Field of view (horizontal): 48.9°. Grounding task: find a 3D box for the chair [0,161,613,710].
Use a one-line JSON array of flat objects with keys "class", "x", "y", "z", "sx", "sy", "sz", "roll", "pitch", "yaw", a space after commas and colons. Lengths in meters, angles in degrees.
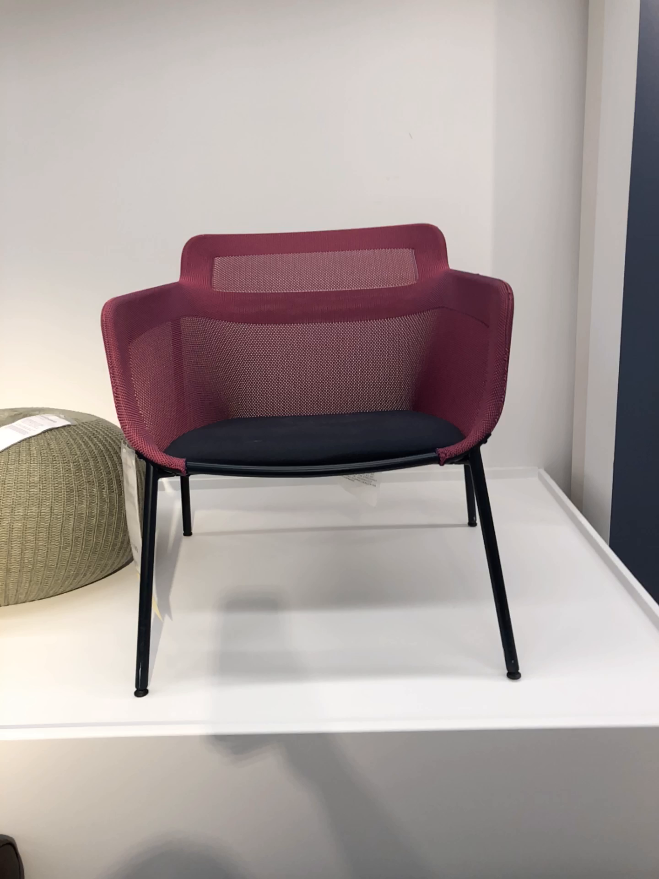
[{"class": "chair", "x": -0.022, "y": -0.102, "z": 1.489, "sx": 0.780, "sy": 0.748, "sz": 1.013, "roll": -2, "pitch": 15, "yaw": 0}]
